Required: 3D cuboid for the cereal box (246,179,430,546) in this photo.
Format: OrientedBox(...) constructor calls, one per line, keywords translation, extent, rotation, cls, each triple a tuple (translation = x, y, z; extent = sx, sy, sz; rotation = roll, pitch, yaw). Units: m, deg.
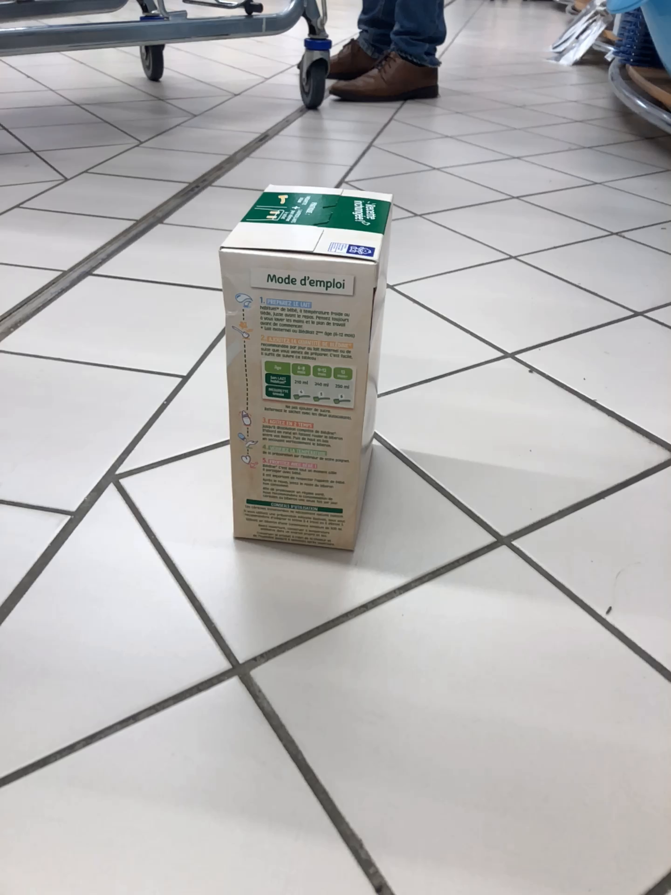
OrientedBox(translation=(0.005, -0.058, 0.484), extent=(0.090, 0.189, 0.141), rotation=(6, 34, 5), cls="cereal box")
